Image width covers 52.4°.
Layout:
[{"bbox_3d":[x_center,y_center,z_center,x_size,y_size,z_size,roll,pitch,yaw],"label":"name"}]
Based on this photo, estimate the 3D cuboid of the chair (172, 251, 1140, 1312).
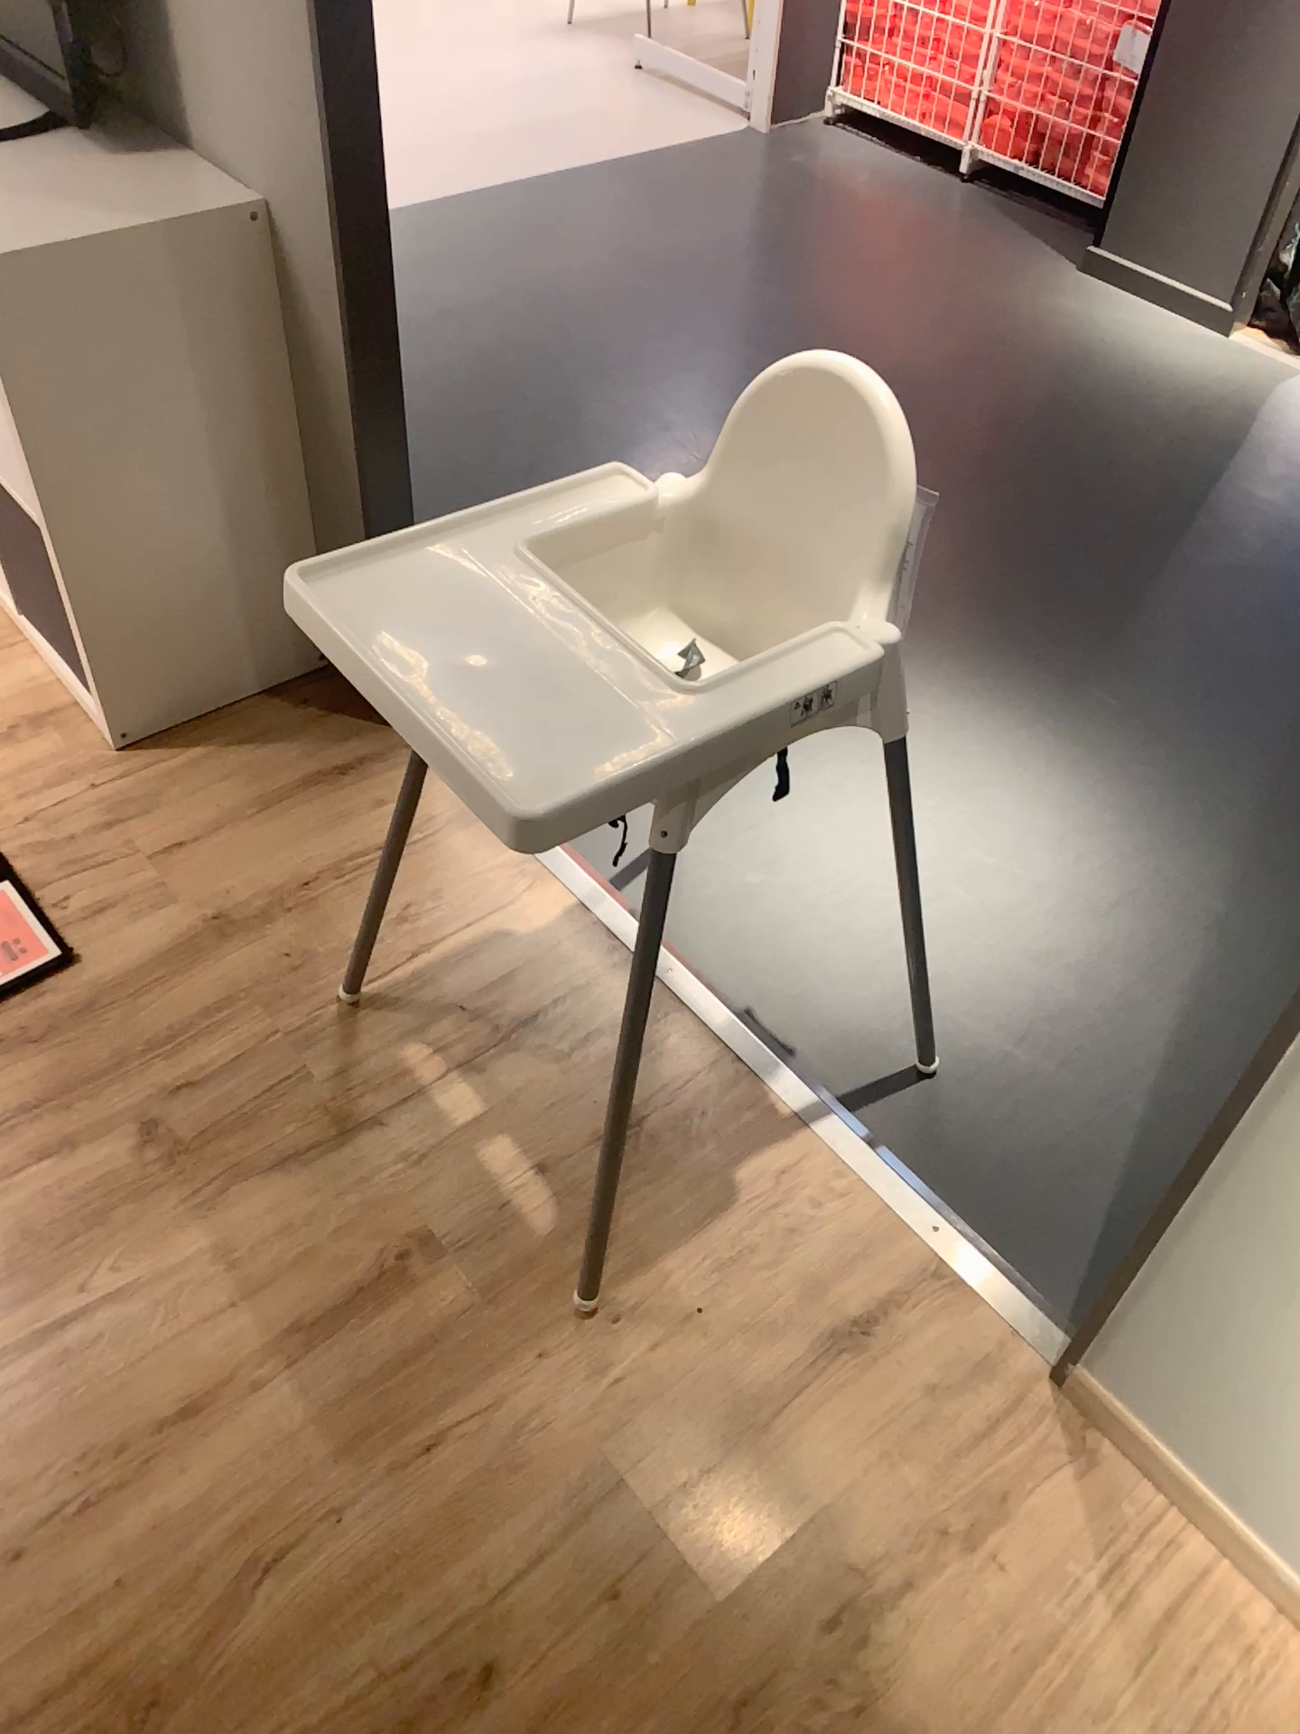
[{"bbox_3d":[-0.017,-0.096,1.431,0.621,0.797,0.571,-29,54,-28],"label":"chair"}]
